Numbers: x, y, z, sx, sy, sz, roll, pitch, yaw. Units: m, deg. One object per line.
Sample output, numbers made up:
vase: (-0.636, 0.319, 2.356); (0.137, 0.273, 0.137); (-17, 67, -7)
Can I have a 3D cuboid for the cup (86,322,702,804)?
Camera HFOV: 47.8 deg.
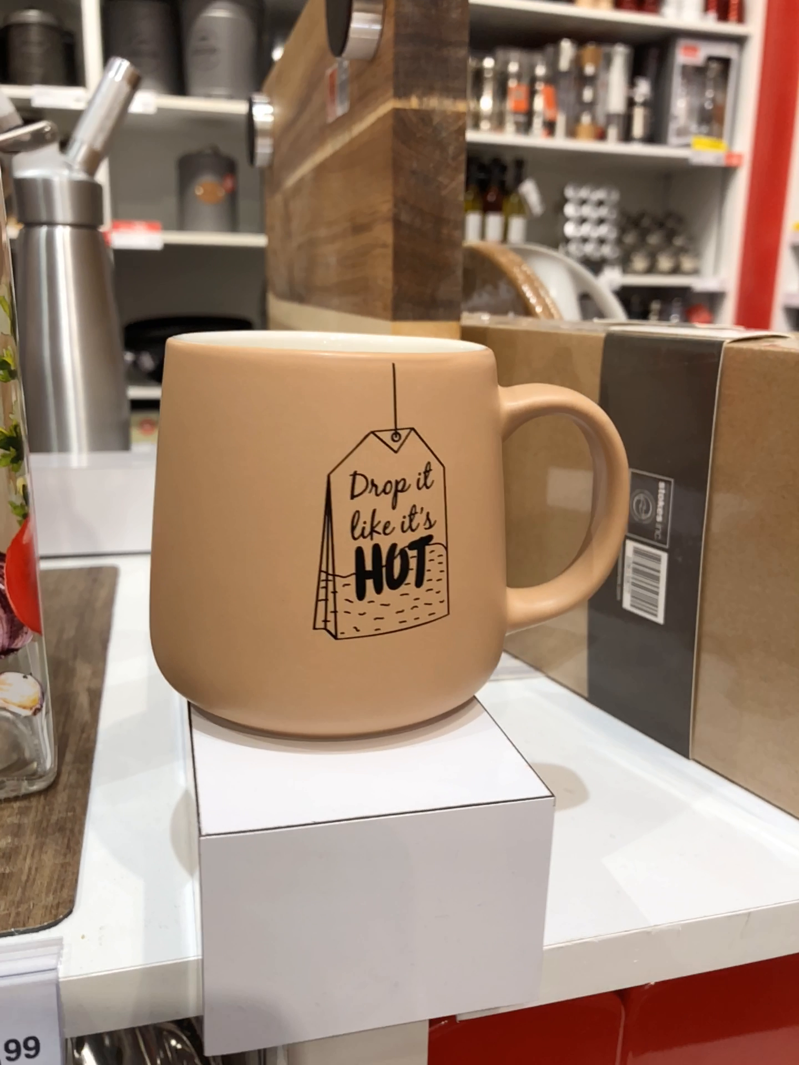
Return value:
cup: (-0.006, -0.007, 0.215); (0.110, 0.080, 0.090); (-7, 17, -29)
